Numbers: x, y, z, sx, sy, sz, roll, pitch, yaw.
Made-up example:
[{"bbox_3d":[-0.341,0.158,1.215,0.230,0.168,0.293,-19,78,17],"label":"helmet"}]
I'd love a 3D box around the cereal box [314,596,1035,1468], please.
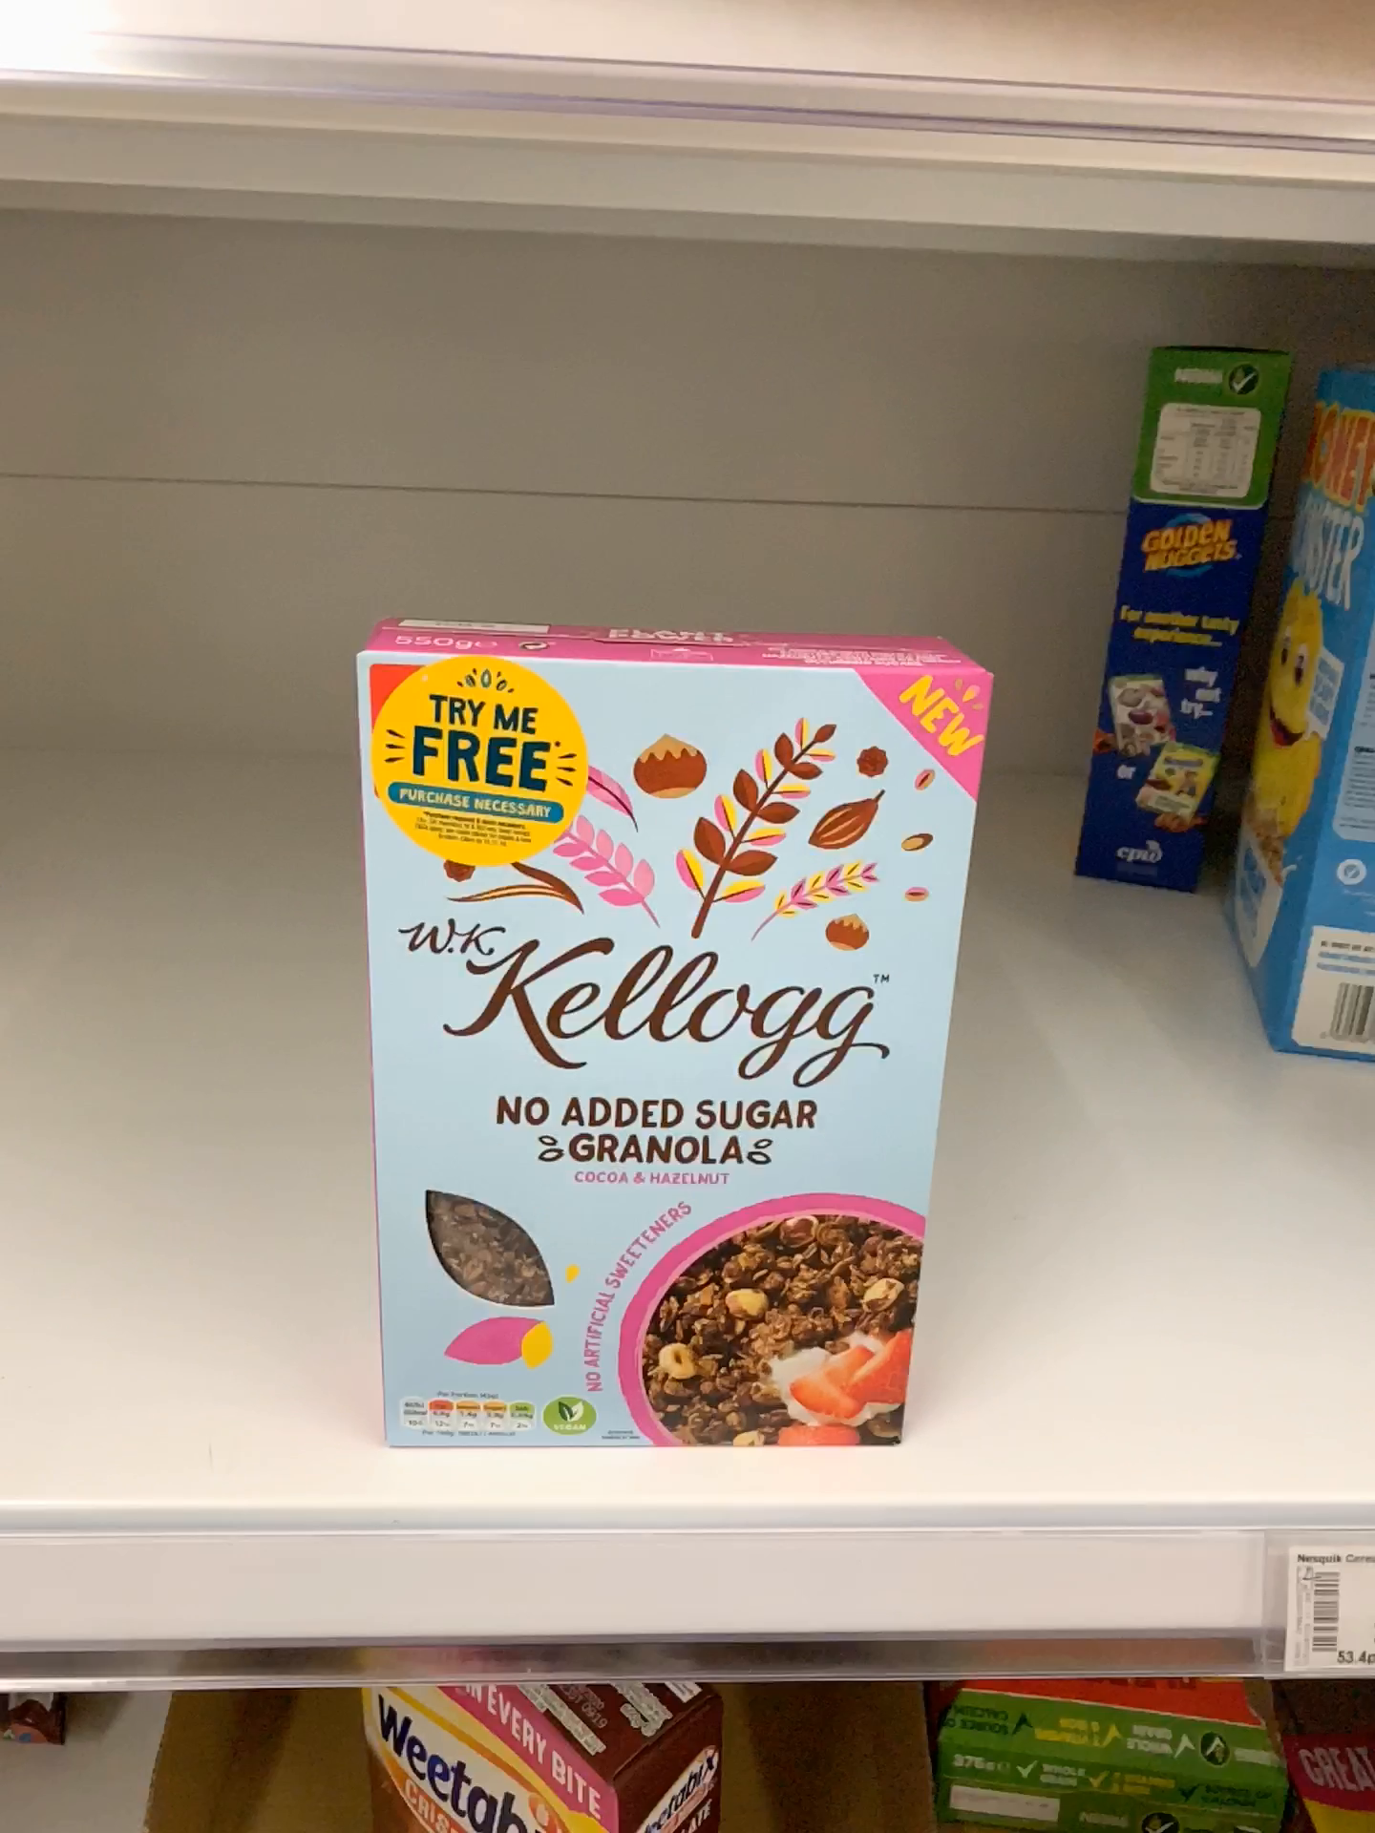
[{"bbox_3d":[-0.008,0.041,0.404,0.170,0.248,0.050,1,22,-3],"label":"cereal box"}]
